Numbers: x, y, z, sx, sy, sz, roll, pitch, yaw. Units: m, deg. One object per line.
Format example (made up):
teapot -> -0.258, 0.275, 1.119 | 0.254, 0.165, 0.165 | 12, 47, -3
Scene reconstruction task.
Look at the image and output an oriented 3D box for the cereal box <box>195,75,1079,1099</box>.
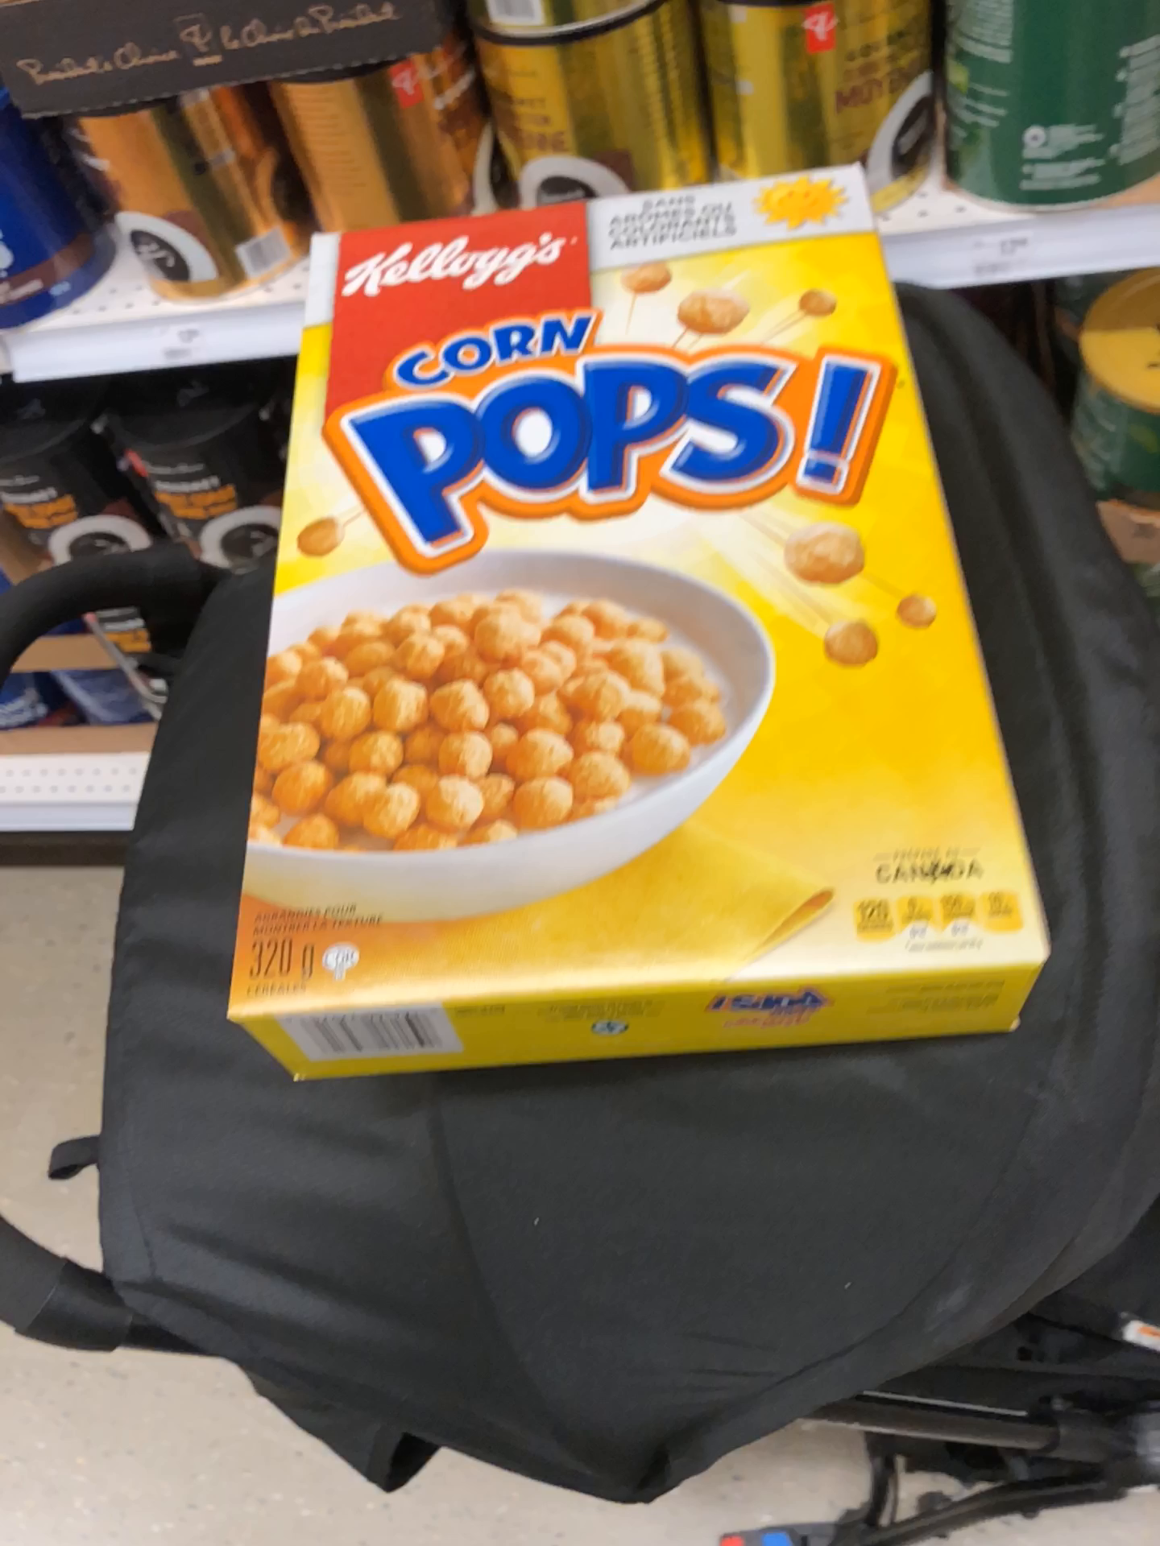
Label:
cereal box -> 0.008, -0.074, 0.397 | 0.200, 0.060, 0.321 | -6, 60, 6
